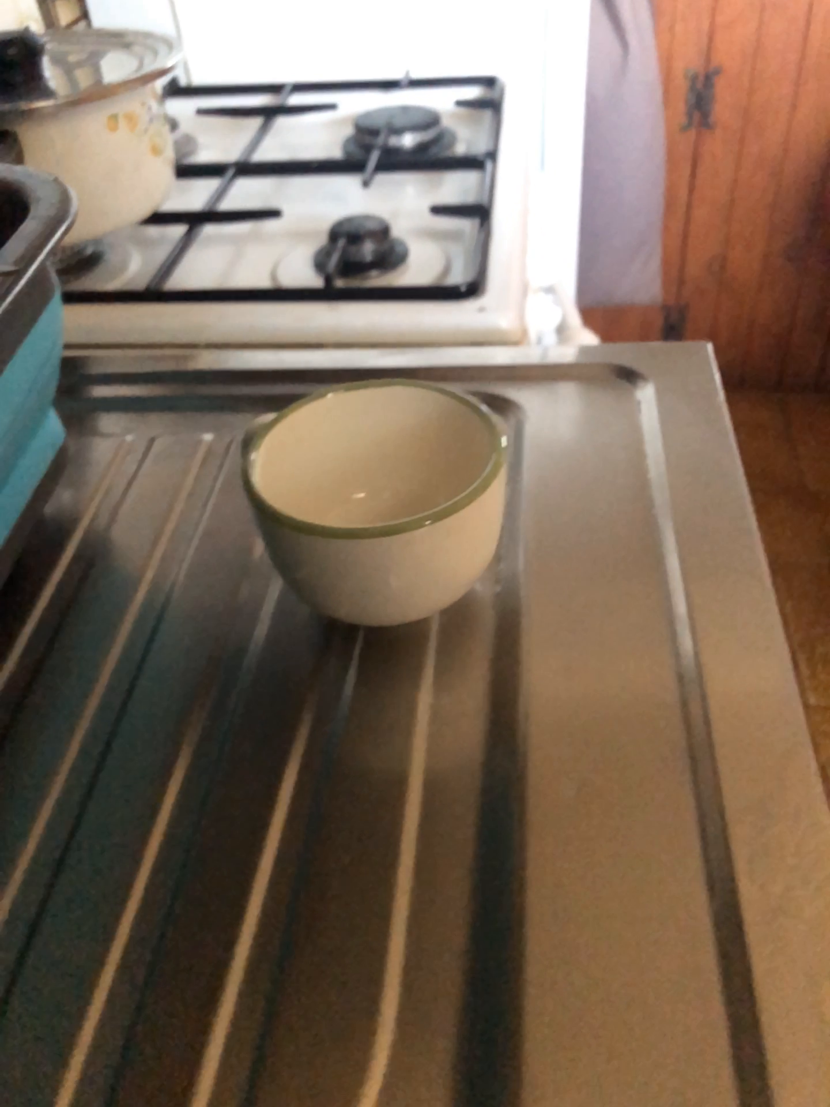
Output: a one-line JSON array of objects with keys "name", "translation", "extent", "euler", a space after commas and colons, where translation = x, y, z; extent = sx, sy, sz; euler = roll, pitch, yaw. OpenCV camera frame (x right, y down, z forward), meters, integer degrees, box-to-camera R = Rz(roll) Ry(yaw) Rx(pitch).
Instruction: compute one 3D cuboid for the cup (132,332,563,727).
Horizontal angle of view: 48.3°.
[{"name": "cup", "translation": [-0.022, -0.016, 0.320], "extent": [0.090, 0.060, 0.110], "euler": [-35, 49, -30]}]
